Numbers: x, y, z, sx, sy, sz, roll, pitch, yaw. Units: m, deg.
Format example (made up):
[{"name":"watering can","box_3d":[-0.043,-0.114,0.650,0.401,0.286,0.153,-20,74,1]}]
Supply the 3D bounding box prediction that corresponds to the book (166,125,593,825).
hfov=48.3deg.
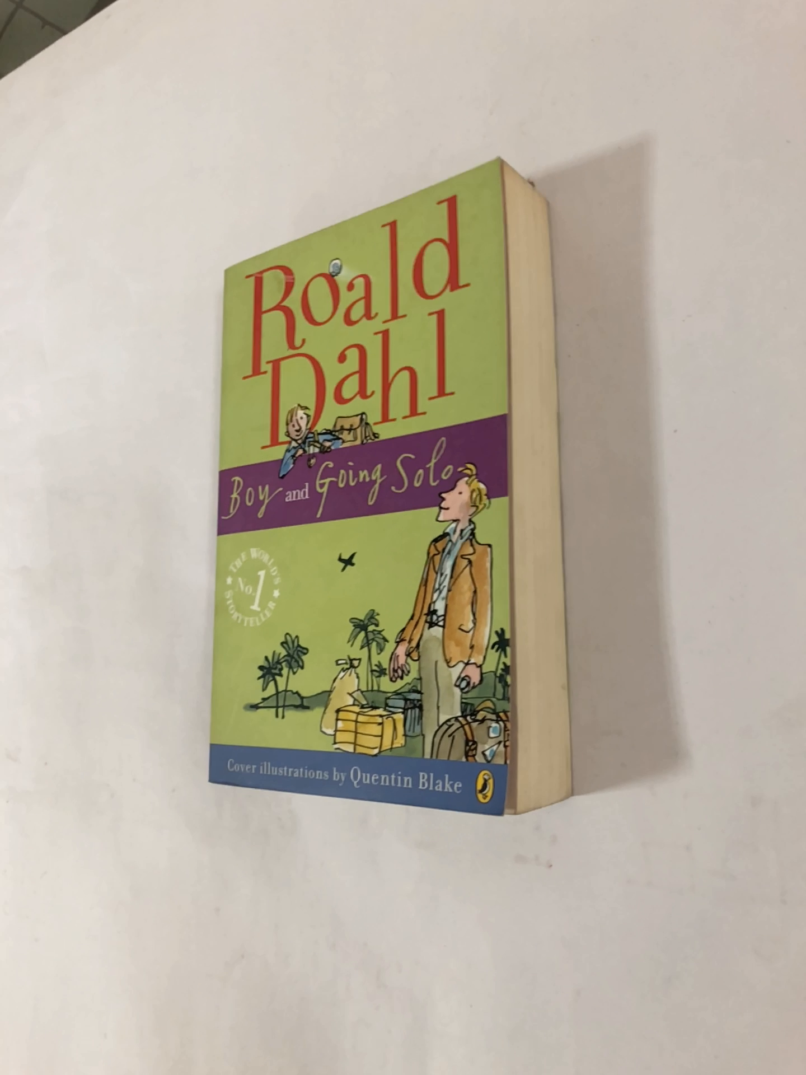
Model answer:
[{"name":"book","box_3d":[-0.015,-0.013,0.297,0.141,0.036,0.193,-7,79,35]}]
